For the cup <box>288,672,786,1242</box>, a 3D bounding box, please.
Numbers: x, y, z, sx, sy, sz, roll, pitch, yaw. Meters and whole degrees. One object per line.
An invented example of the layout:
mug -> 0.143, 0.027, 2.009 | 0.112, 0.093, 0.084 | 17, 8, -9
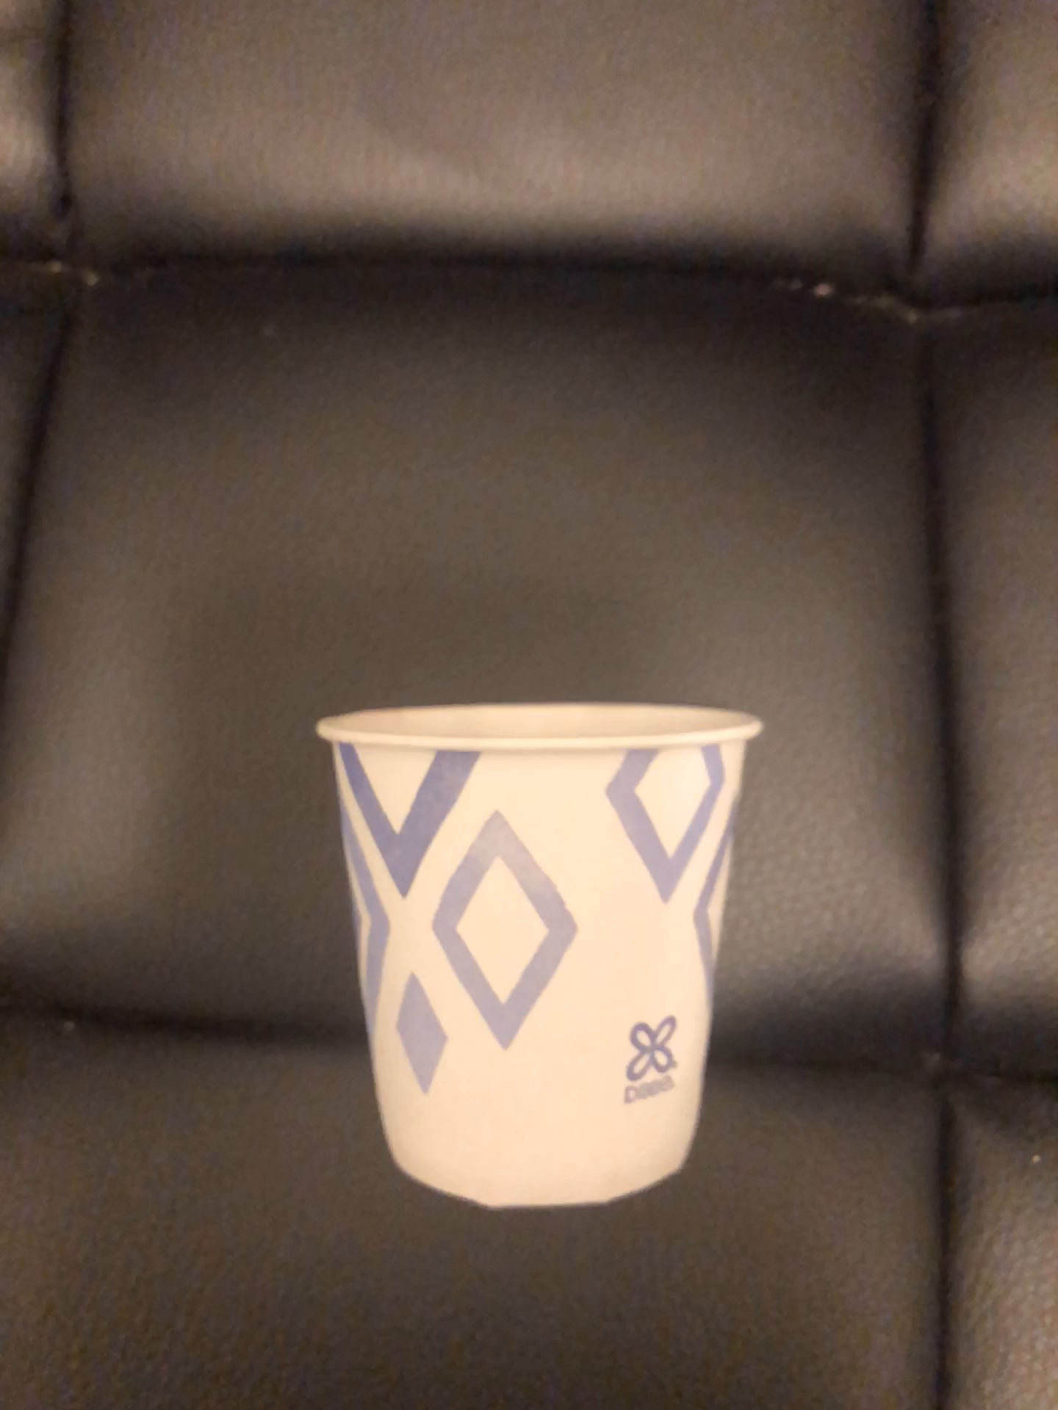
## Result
cup -> 0.001, 0.027, 0.154 | 0.052, 0.049, 0.058 | 1, 95, 3
